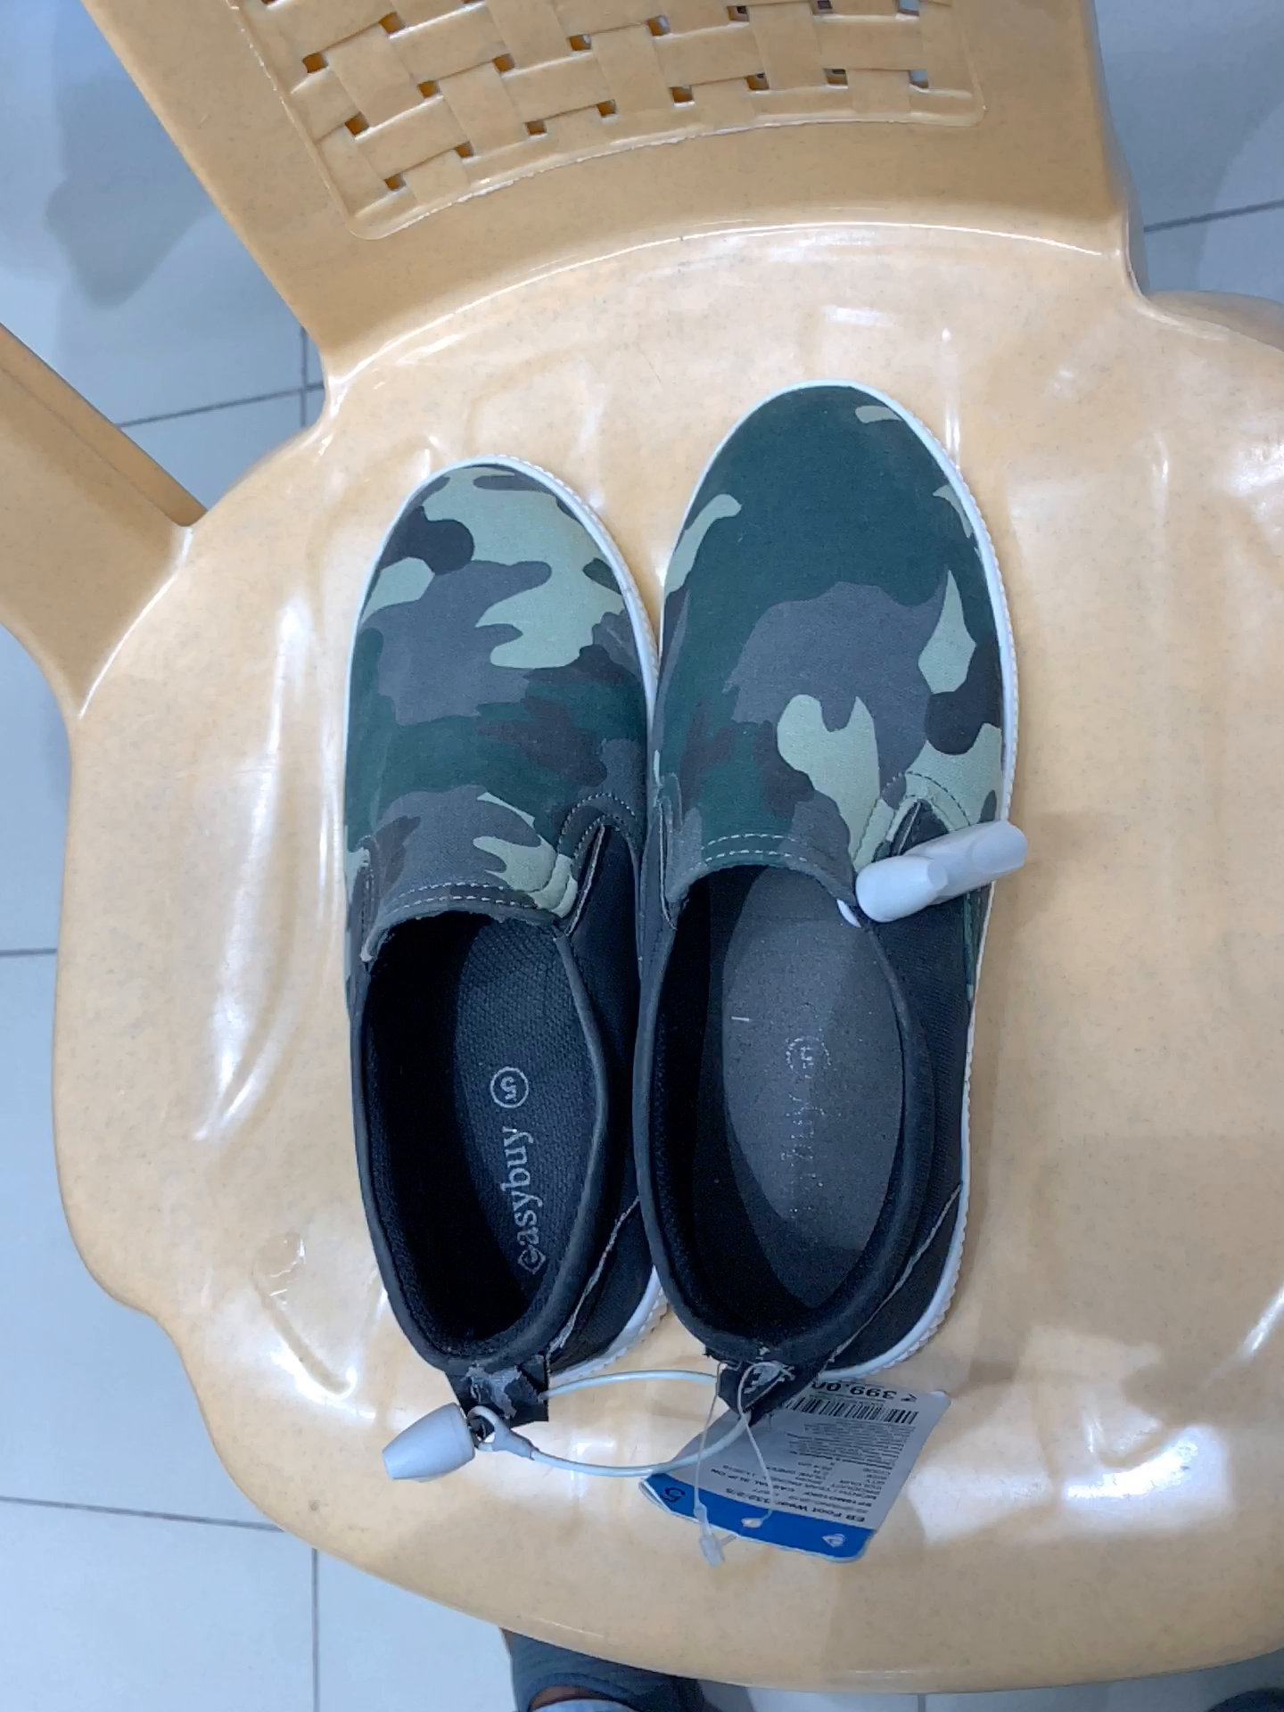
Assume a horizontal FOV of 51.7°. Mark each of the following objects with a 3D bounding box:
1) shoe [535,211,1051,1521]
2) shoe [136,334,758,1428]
[{"bbox_3d":[0.038,0.002,0.301,0.090,0.100,0.240,-3,81,19],"label":"shoe"},{"bbox_3d":[-0.044,0.009,0.328,0.090,0.100,0.220,-11,82,18],"label":"shoe"}]
